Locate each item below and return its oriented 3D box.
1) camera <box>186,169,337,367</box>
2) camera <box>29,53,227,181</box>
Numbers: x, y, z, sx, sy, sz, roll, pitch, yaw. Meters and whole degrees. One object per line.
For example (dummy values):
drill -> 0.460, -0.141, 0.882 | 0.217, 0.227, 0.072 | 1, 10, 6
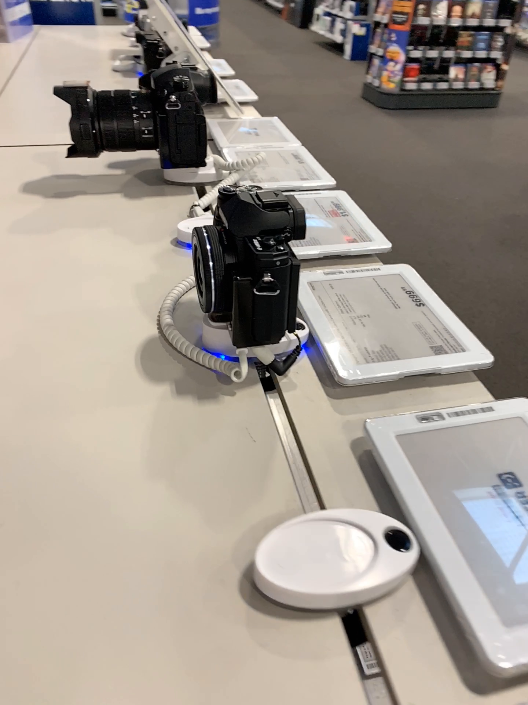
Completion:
camera -> -0.009, -0.066, 0.387 | 0.070, 0.080, 0.131 | -8, 39, -13
camera -> -0.156, -0.284, 0.643 | 0.200, 0.099, 0.141 | -8, 39, -13
